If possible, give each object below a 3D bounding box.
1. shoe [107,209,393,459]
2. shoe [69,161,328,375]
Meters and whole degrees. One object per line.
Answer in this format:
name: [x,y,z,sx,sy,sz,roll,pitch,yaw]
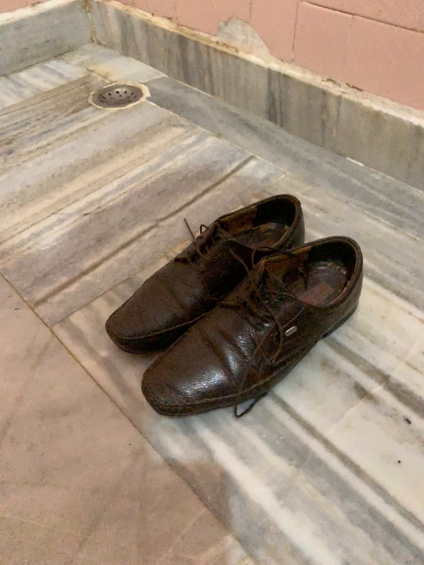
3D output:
shoe: [0.047,0.045,0.472,0.282,0.110,0.100,-30,54,-22]
shoe: [-0.006,-0.027,0.528,0.282,0.110,0.100,-30,54,-22]
